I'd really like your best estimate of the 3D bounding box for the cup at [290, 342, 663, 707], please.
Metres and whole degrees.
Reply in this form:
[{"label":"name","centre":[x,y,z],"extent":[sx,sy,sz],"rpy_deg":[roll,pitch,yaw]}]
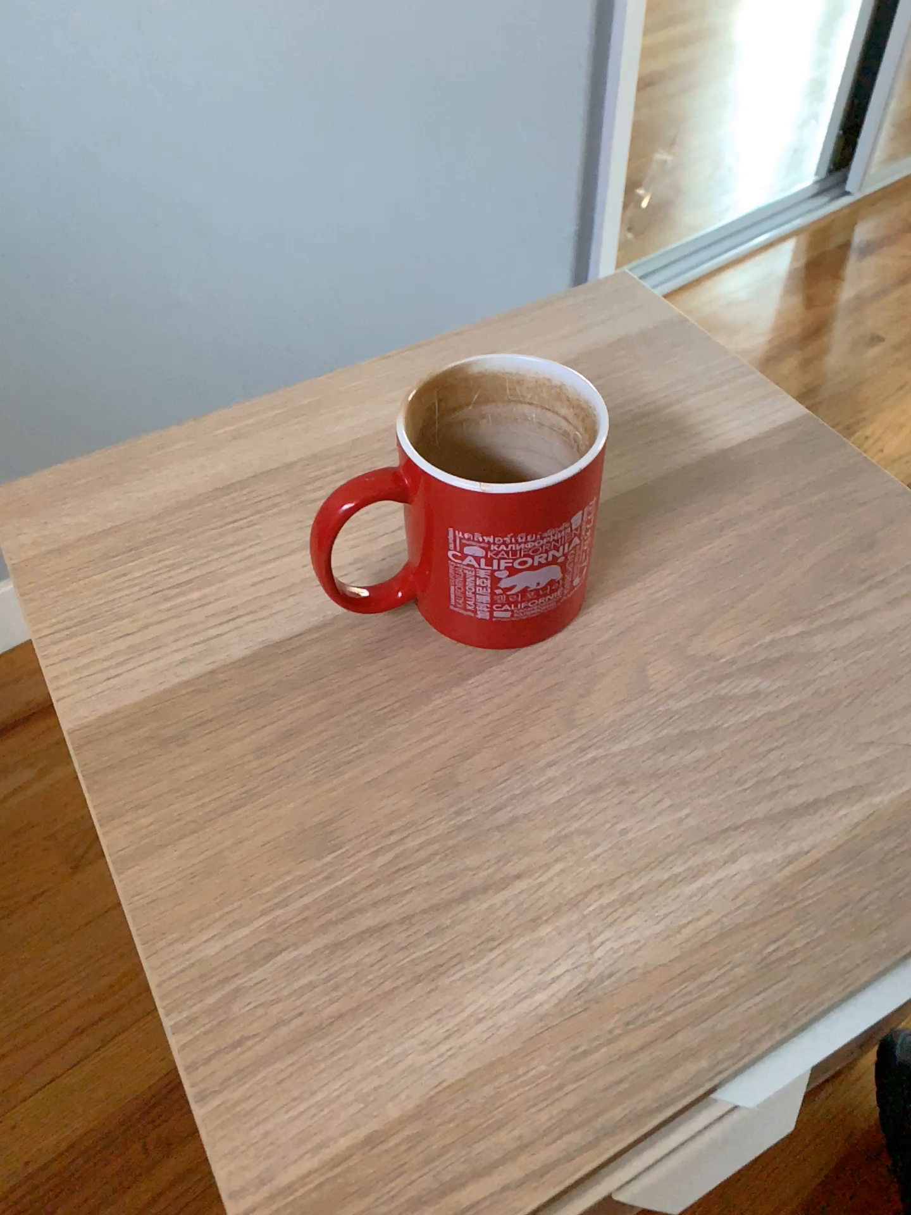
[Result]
[{"label":"cup","centre":[0.007,-0.033,0.384],"extent":[0.120,0.100,0.070],"rpy_deg":[-18,52,-13]}]
